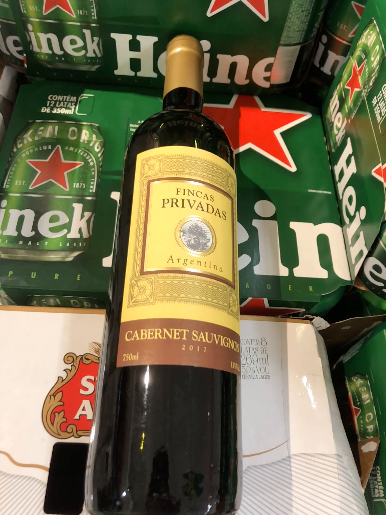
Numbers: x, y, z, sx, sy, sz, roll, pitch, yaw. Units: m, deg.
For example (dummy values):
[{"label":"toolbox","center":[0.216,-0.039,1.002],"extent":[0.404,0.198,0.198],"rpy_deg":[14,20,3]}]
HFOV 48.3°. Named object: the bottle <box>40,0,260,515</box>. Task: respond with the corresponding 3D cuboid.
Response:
[{"label":"bottle","center":[-0.012,-0.032,0.263],"extent":[0.080,0.060,0.331],"rpy_deg":[4,61,-3]}]
